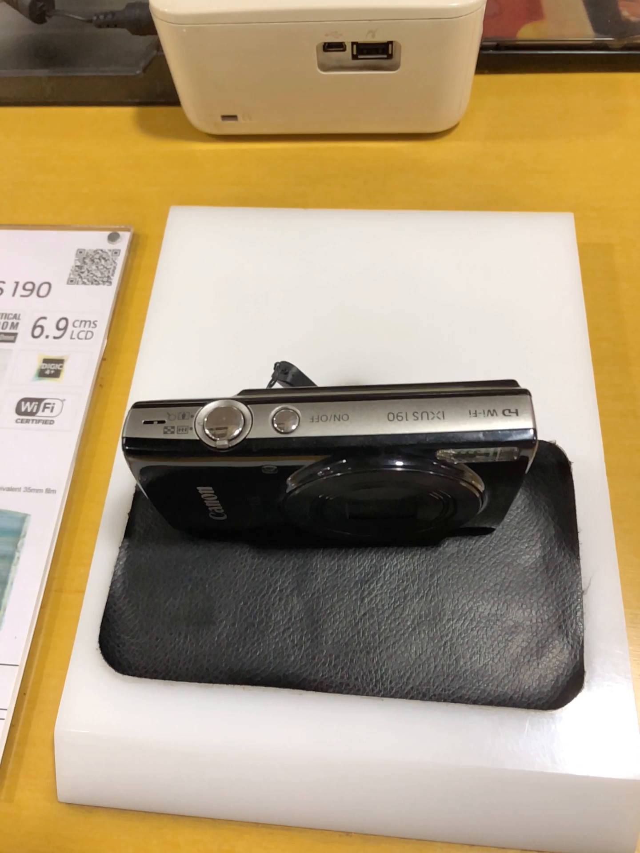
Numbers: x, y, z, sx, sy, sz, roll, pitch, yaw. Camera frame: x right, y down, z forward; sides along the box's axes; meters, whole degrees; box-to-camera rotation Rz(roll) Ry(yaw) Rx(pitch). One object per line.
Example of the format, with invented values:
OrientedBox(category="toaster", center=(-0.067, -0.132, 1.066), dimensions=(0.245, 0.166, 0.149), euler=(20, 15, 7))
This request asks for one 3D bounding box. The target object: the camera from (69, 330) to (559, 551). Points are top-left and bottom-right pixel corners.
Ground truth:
OrientedBox(category="camera", center=(-0.001, 0.006, 0.175), dimensions=(0.100, 0.050, 0.030), euler=(-3, 62, 2))
